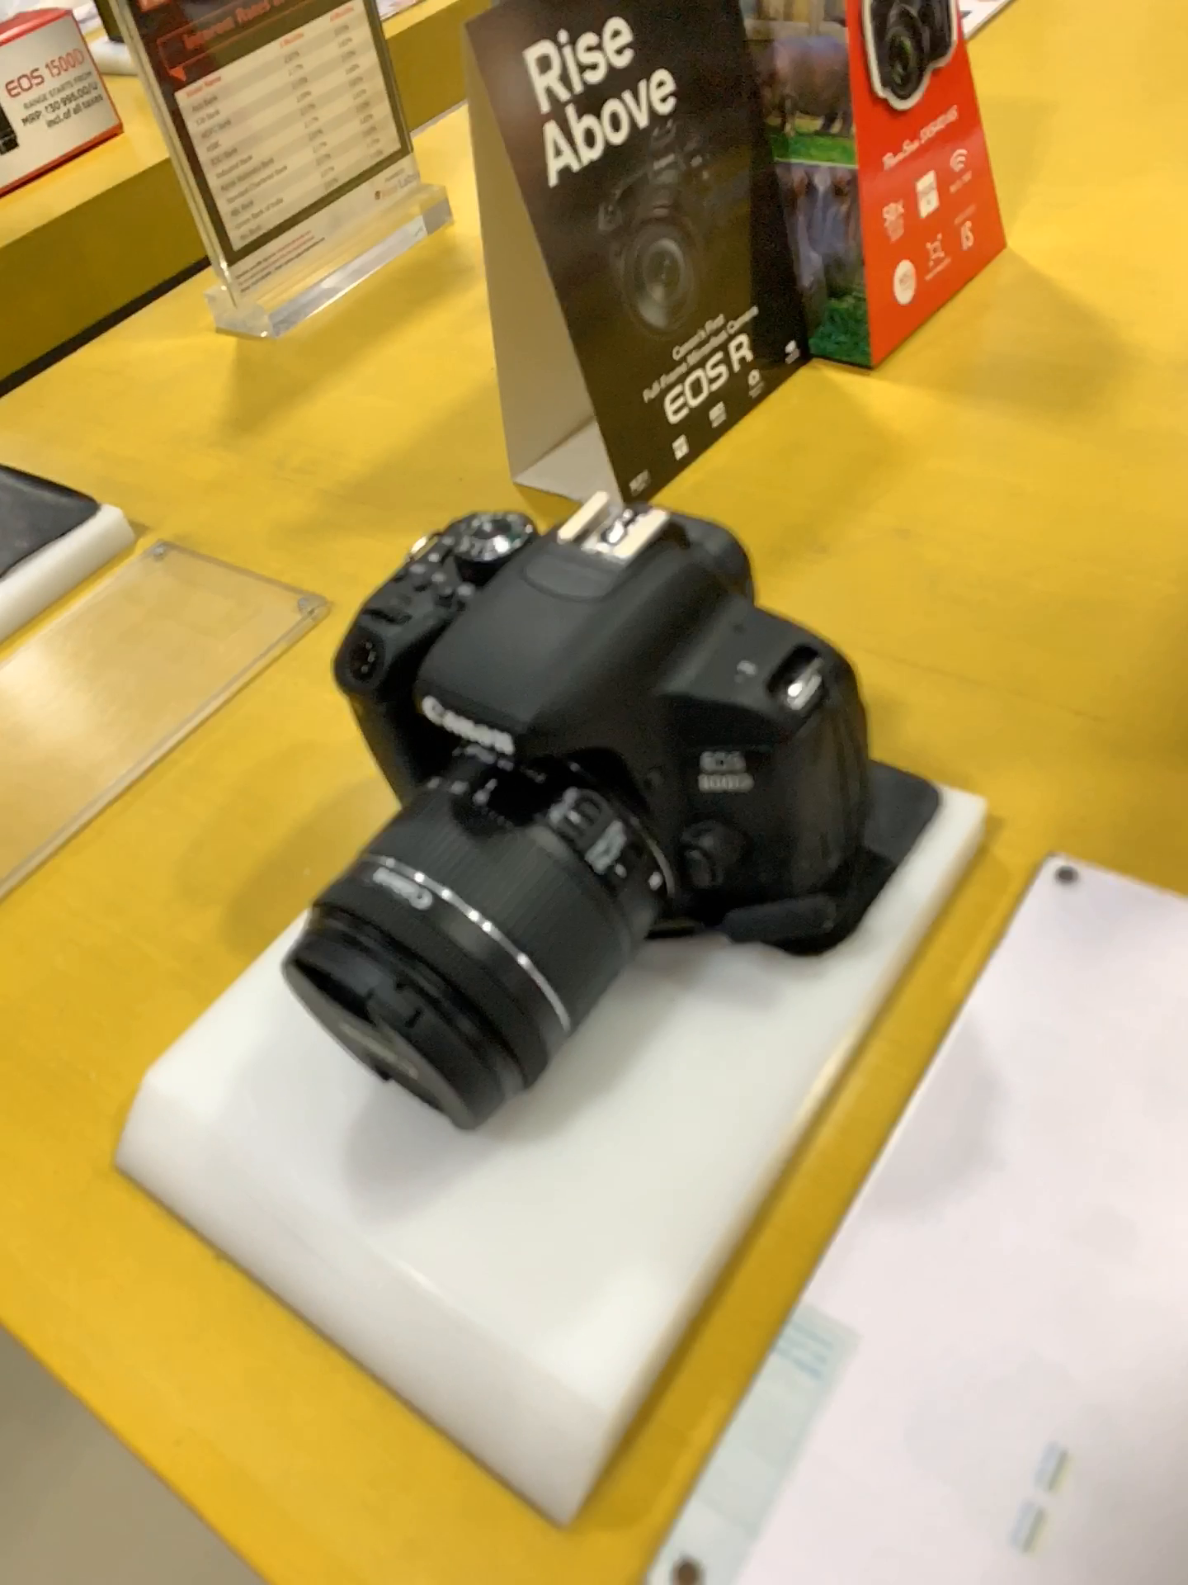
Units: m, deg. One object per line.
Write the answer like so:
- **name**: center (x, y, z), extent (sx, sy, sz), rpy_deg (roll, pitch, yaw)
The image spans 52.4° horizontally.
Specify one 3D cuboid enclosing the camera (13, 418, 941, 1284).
- **camera**: center (-0.017, 0.001, 0.273), extent (0.140, 0.090, 0.130), rpy_deg (22, 56, 31)
